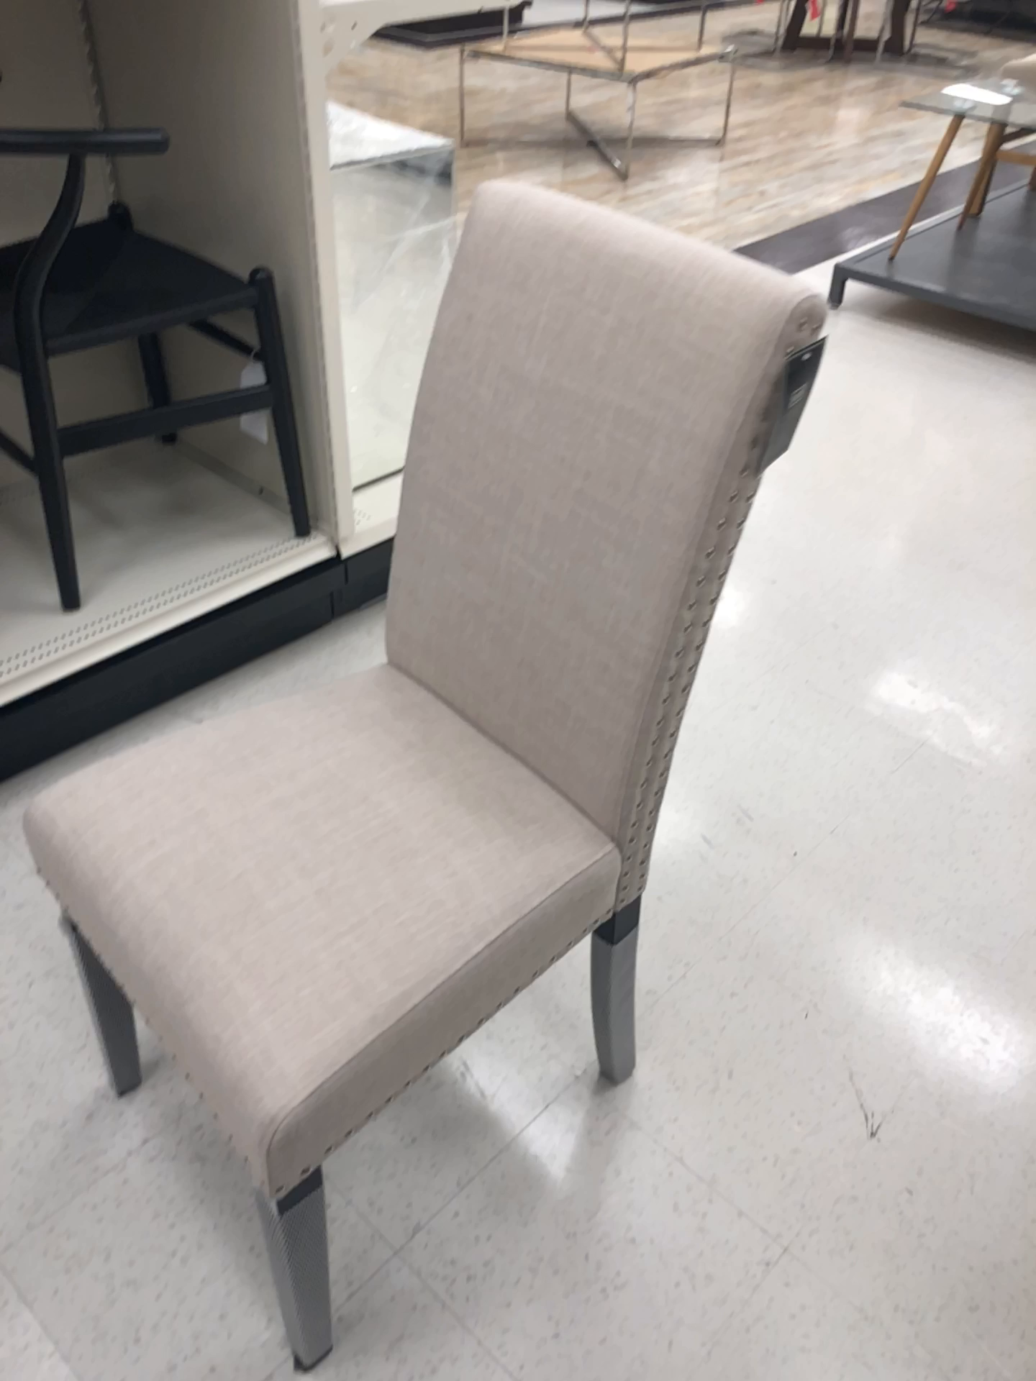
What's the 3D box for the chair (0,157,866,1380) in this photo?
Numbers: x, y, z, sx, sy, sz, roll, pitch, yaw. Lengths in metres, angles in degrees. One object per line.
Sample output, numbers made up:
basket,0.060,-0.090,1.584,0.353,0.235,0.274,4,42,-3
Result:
chair,-0.135,0.100,1.124,0.557,1.006,0.488,-26,46,-32
